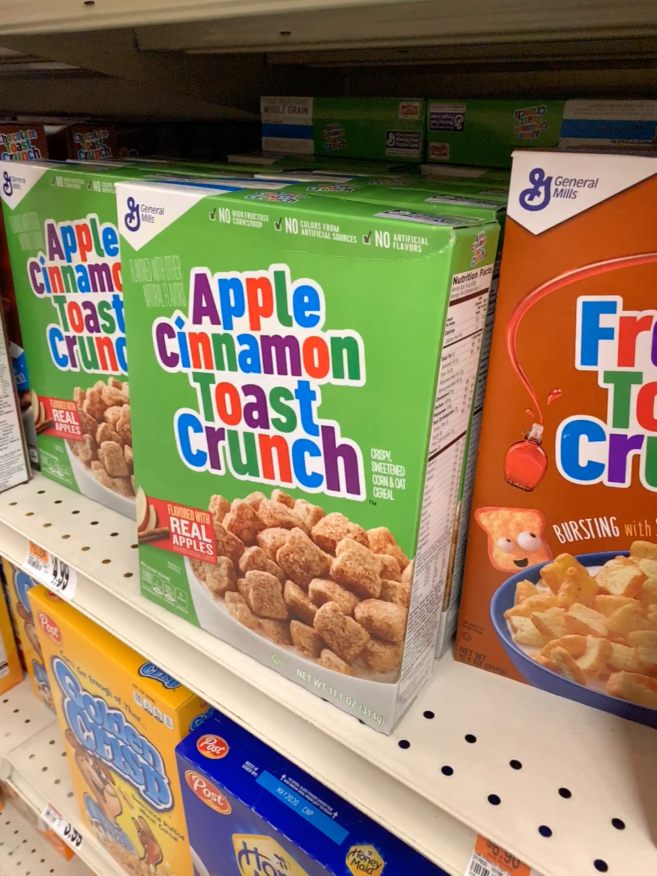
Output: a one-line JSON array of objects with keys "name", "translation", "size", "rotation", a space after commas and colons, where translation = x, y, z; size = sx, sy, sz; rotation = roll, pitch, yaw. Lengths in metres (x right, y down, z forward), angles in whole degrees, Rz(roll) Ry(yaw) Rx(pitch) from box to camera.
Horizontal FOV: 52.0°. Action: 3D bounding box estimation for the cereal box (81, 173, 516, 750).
[{"name": "cereal box", "translation": [-0.029, 0.007, 0.375], "size": [0.210, 0.269, 0.060], "rotation": [19, 30, 30]}]
